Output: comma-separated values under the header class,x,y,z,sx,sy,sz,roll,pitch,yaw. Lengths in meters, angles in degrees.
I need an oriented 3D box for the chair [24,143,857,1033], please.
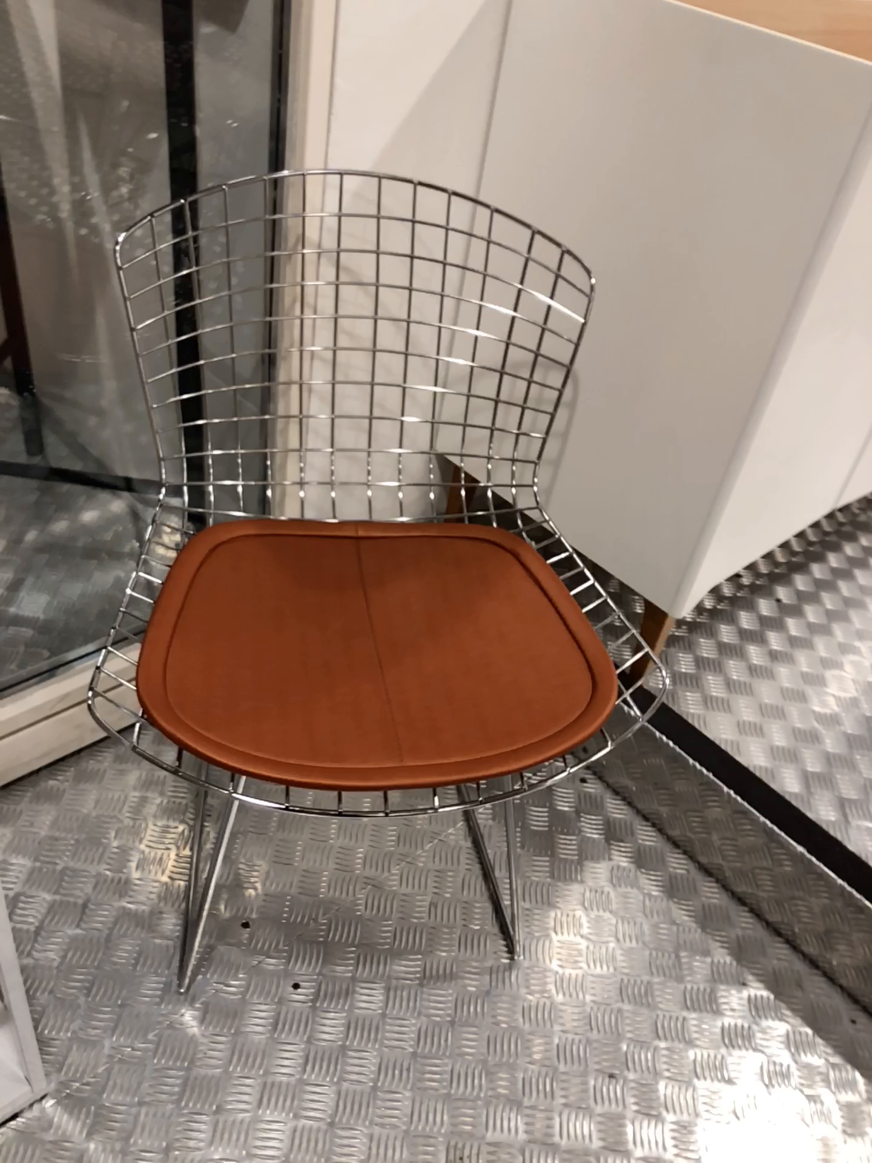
class,x,y,z,sx,sy,sz,roll,pitch,yaw
chair,-0.072,0.004,1.050,0.551,0.704,0.574,-1,40,-14
